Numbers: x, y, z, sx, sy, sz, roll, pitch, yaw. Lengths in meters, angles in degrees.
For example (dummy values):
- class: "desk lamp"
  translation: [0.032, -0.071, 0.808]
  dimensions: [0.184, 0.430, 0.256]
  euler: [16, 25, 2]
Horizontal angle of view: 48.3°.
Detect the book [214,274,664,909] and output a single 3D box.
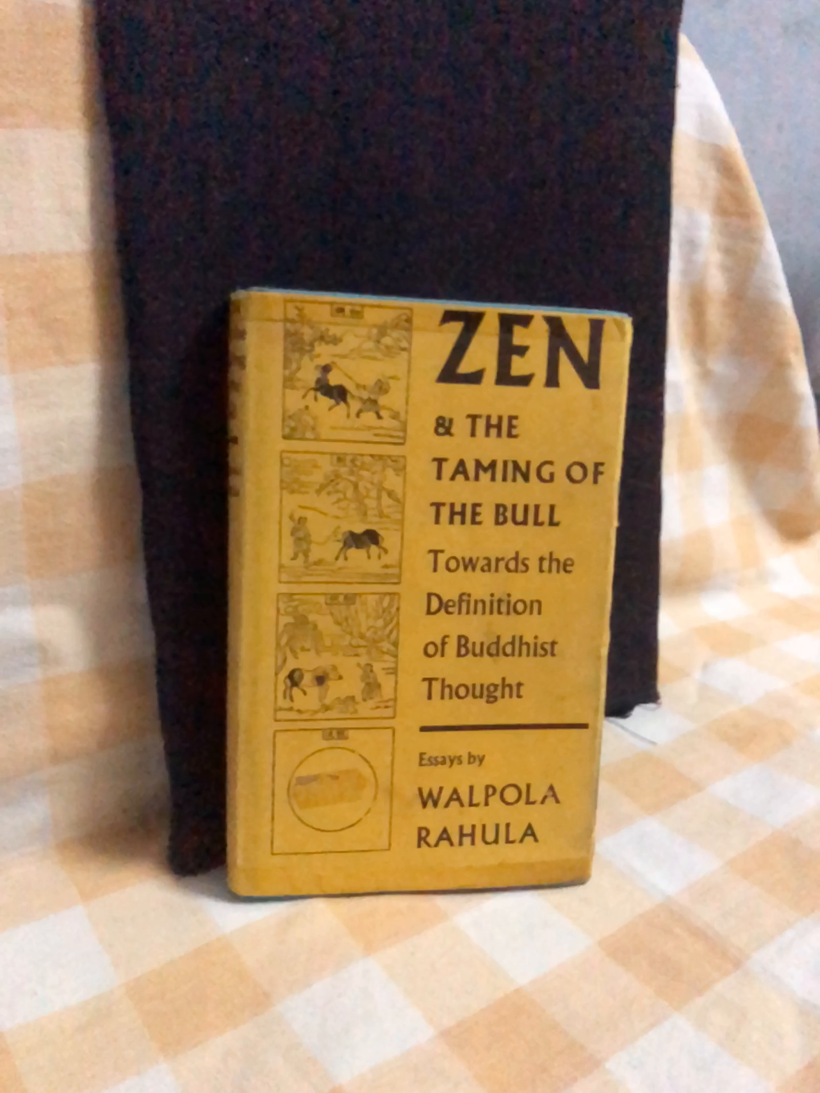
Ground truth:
- class: "book"
  translation: [0.006, 0.020, 0.323]
  dimensions: [0.140, 0.210, 0.030]
  euler: [2, 10, -12]
